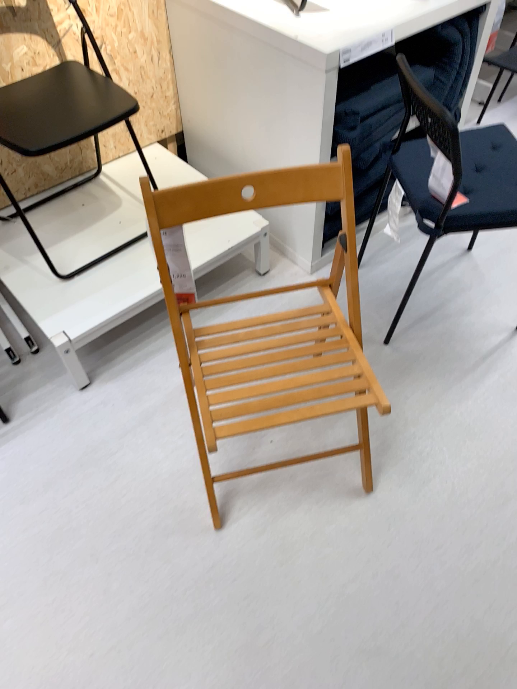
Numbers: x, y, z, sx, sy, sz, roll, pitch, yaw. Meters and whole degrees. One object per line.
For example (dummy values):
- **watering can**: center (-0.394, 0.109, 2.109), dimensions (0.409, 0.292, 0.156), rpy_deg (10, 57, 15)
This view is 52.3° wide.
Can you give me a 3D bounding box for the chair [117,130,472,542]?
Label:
- **chair**: center (0.026, 0.005, 1.232), dimensions (0.510, 0.698, 0.562), rpy_deg (-12, 52, -8)
